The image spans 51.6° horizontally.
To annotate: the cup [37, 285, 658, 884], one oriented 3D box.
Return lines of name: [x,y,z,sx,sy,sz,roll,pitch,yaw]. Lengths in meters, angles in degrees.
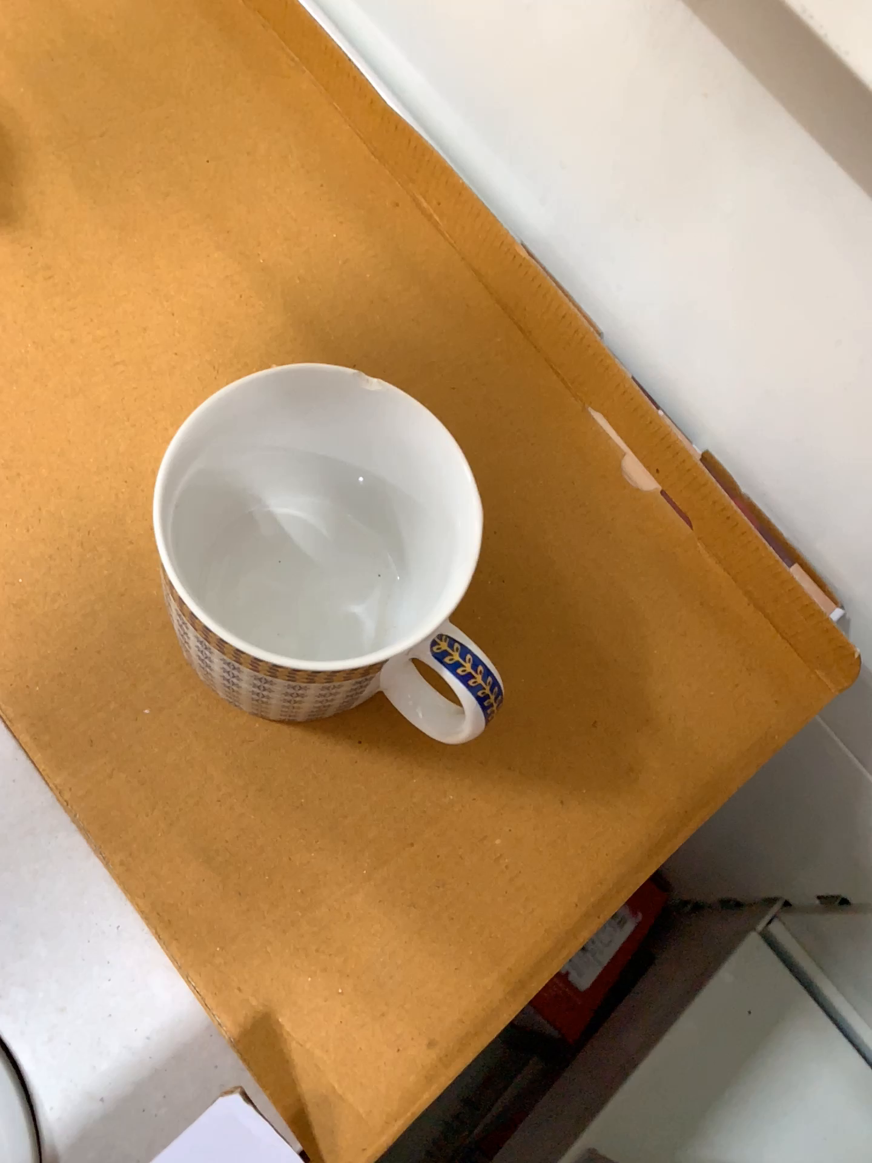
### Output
cup: [-0.023,0.004,0.227,0.110,0.070,0.080,42,65,3]
